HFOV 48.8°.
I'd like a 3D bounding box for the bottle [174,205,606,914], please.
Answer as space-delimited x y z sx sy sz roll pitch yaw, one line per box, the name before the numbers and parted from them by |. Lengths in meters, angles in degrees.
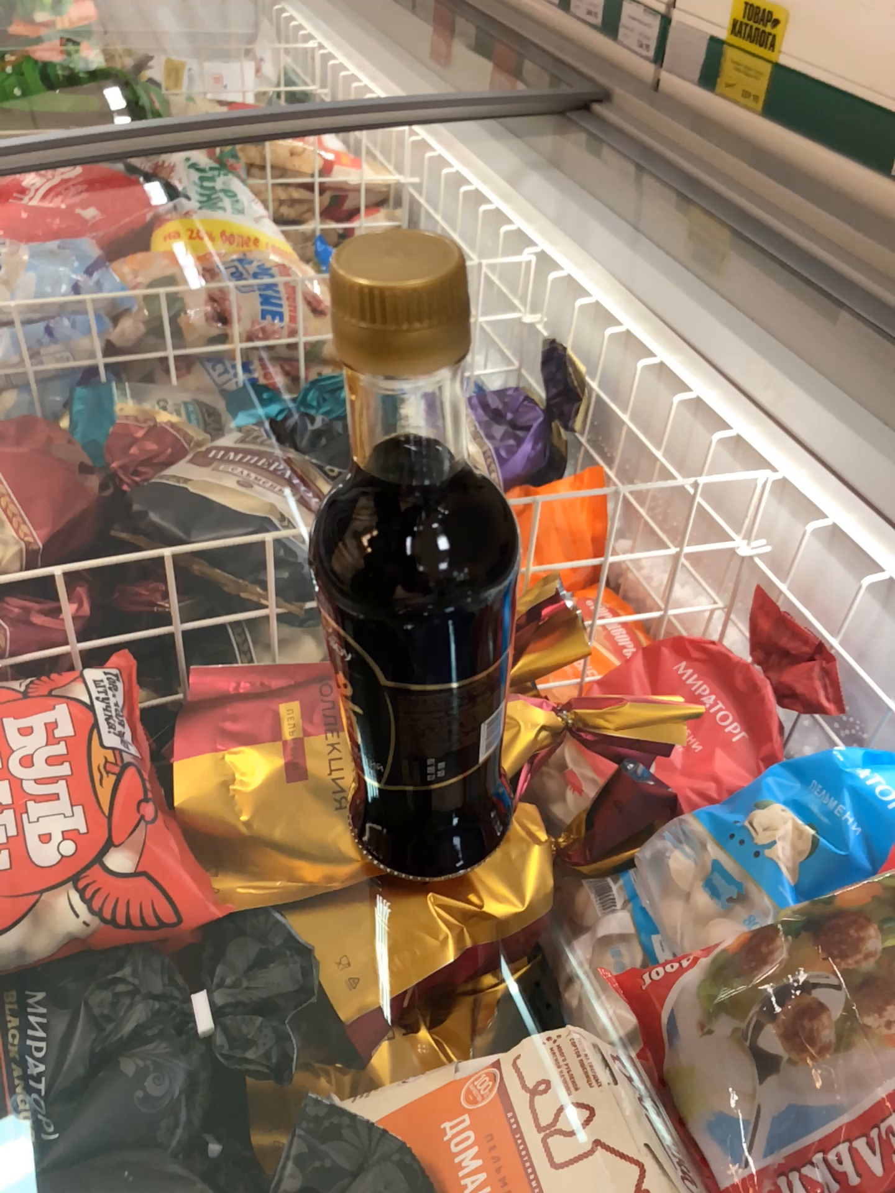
bottle | -0.021 -0.002 0.276 0.070 0.179 0.070 3 41 -3
